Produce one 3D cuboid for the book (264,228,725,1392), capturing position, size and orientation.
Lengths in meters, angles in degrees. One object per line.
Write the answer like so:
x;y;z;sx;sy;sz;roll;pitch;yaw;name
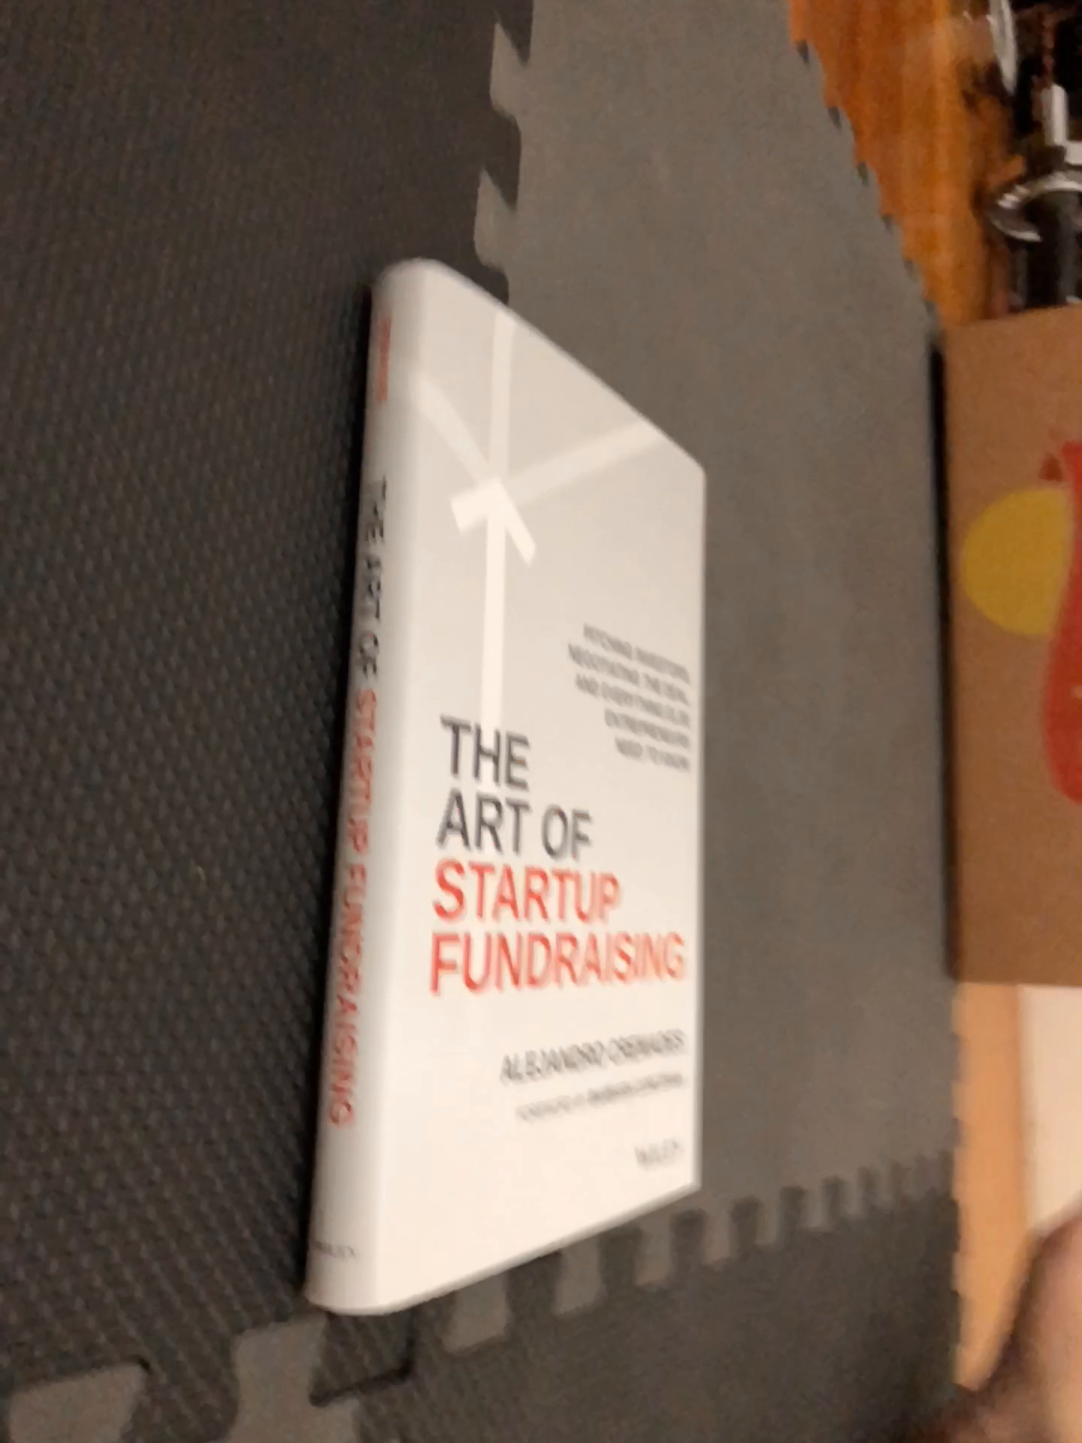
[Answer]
0.004;0.023;0.337;0.171;0.030;0.250;19;70;-57;book
